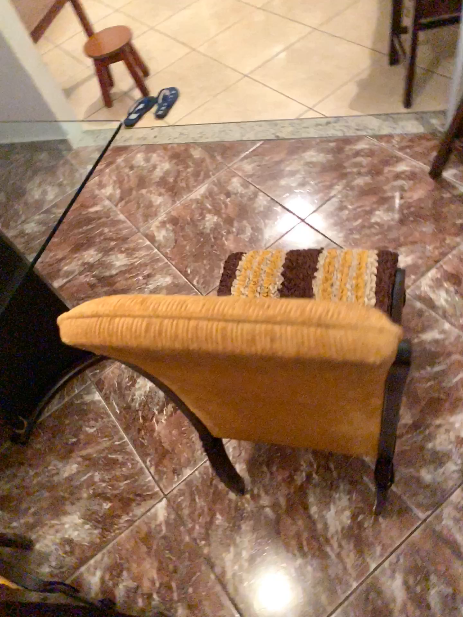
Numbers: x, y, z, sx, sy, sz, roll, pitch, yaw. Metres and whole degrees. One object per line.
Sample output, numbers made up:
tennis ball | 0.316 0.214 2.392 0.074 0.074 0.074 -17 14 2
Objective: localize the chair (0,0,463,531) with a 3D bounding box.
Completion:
chair | 0.121 0.021 0.986 0.561 0.936 0.602 1 57 17
